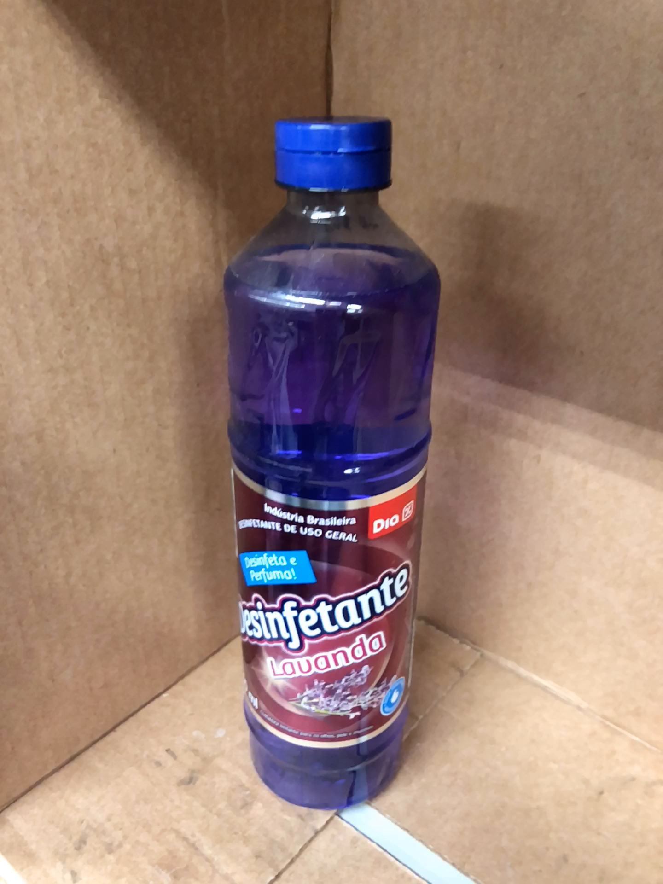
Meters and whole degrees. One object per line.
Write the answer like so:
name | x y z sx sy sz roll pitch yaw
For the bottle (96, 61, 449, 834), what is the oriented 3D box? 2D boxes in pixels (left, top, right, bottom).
bottle | -0.008 0.014 0.238 0.070 0.238 0.071 0 30 0
